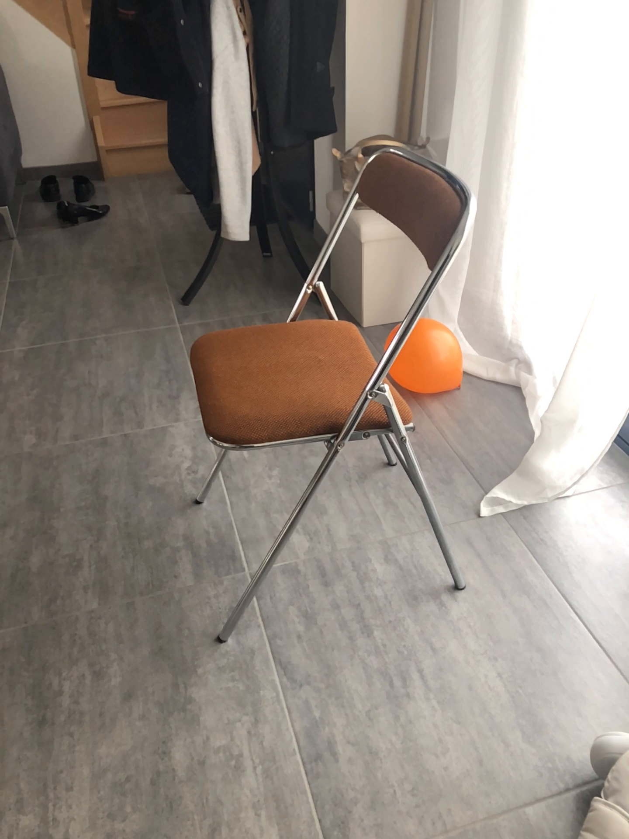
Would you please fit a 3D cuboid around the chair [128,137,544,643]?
[{"bbox_3d":[-0.002,-0.070,1.292,0.551,0.736,0.482,-9,35,-11],"label":"chair"}]
